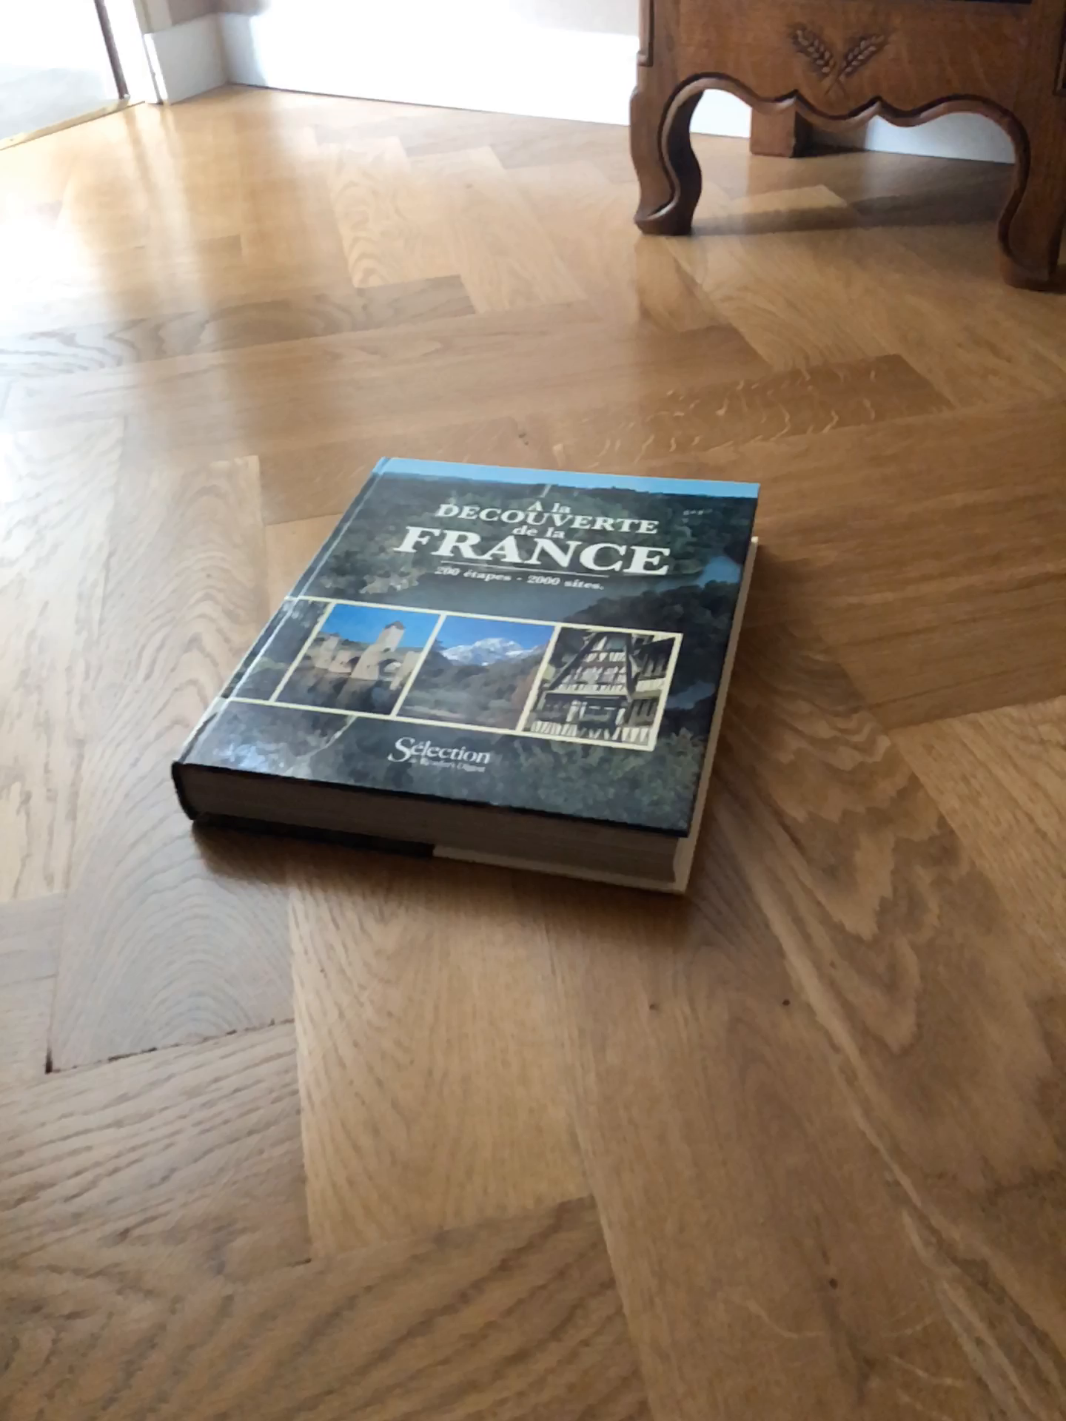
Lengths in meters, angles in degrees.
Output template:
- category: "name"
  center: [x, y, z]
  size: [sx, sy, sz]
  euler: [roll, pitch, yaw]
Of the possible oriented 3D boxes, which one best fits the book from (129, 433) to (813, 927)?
- category: "book"
  center: [-0.006, -0.041, 0.565]
  size: [0.250, 0.040, 0.292]
  euler: [7, 42, 14]
